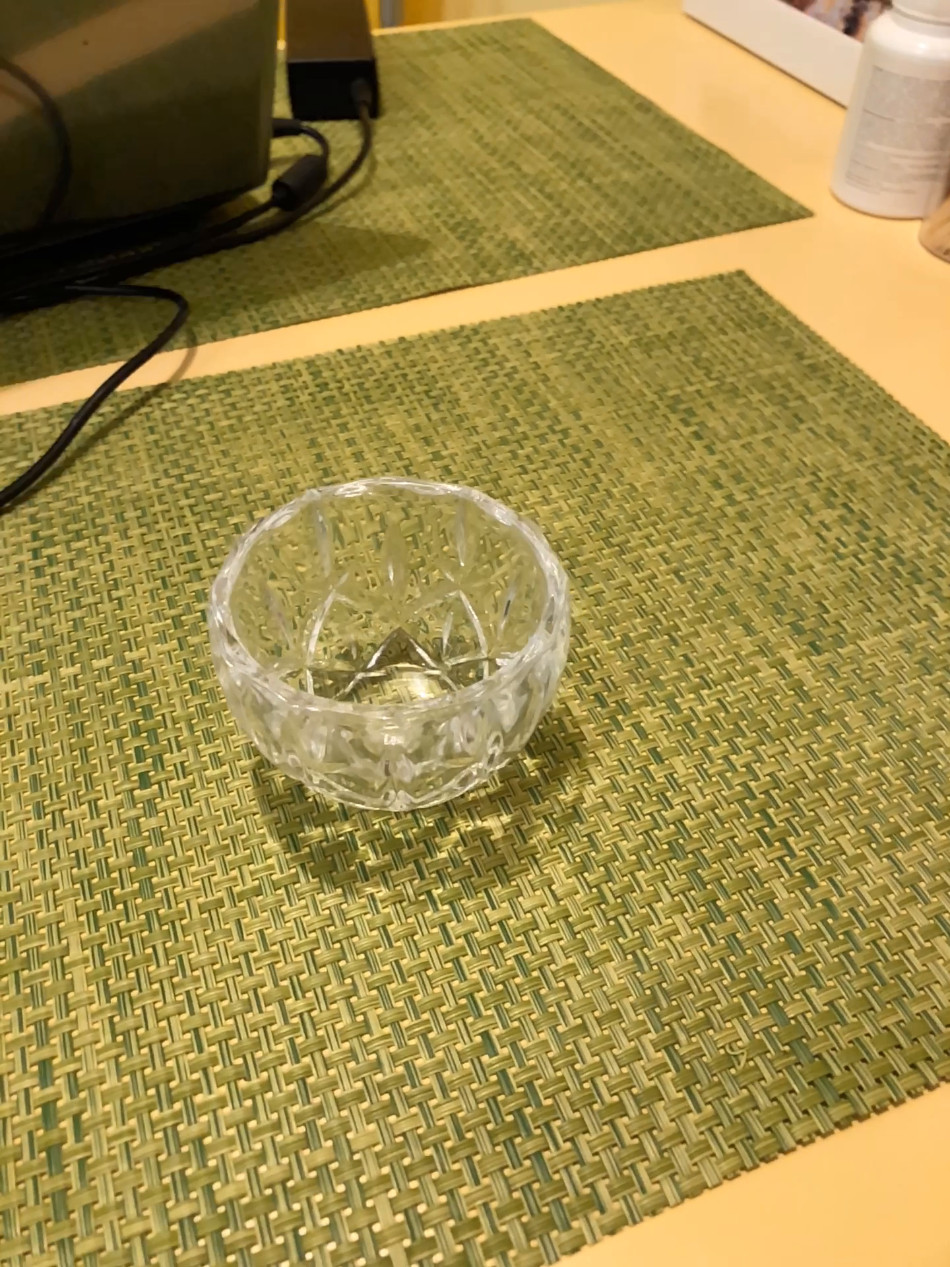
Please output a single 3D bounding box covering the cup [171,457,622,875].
[{"bbox_3d":[-0.018,0.005,0.227,0.080,0.045,0.072,-4,46,-5],"label":"cup"}]
